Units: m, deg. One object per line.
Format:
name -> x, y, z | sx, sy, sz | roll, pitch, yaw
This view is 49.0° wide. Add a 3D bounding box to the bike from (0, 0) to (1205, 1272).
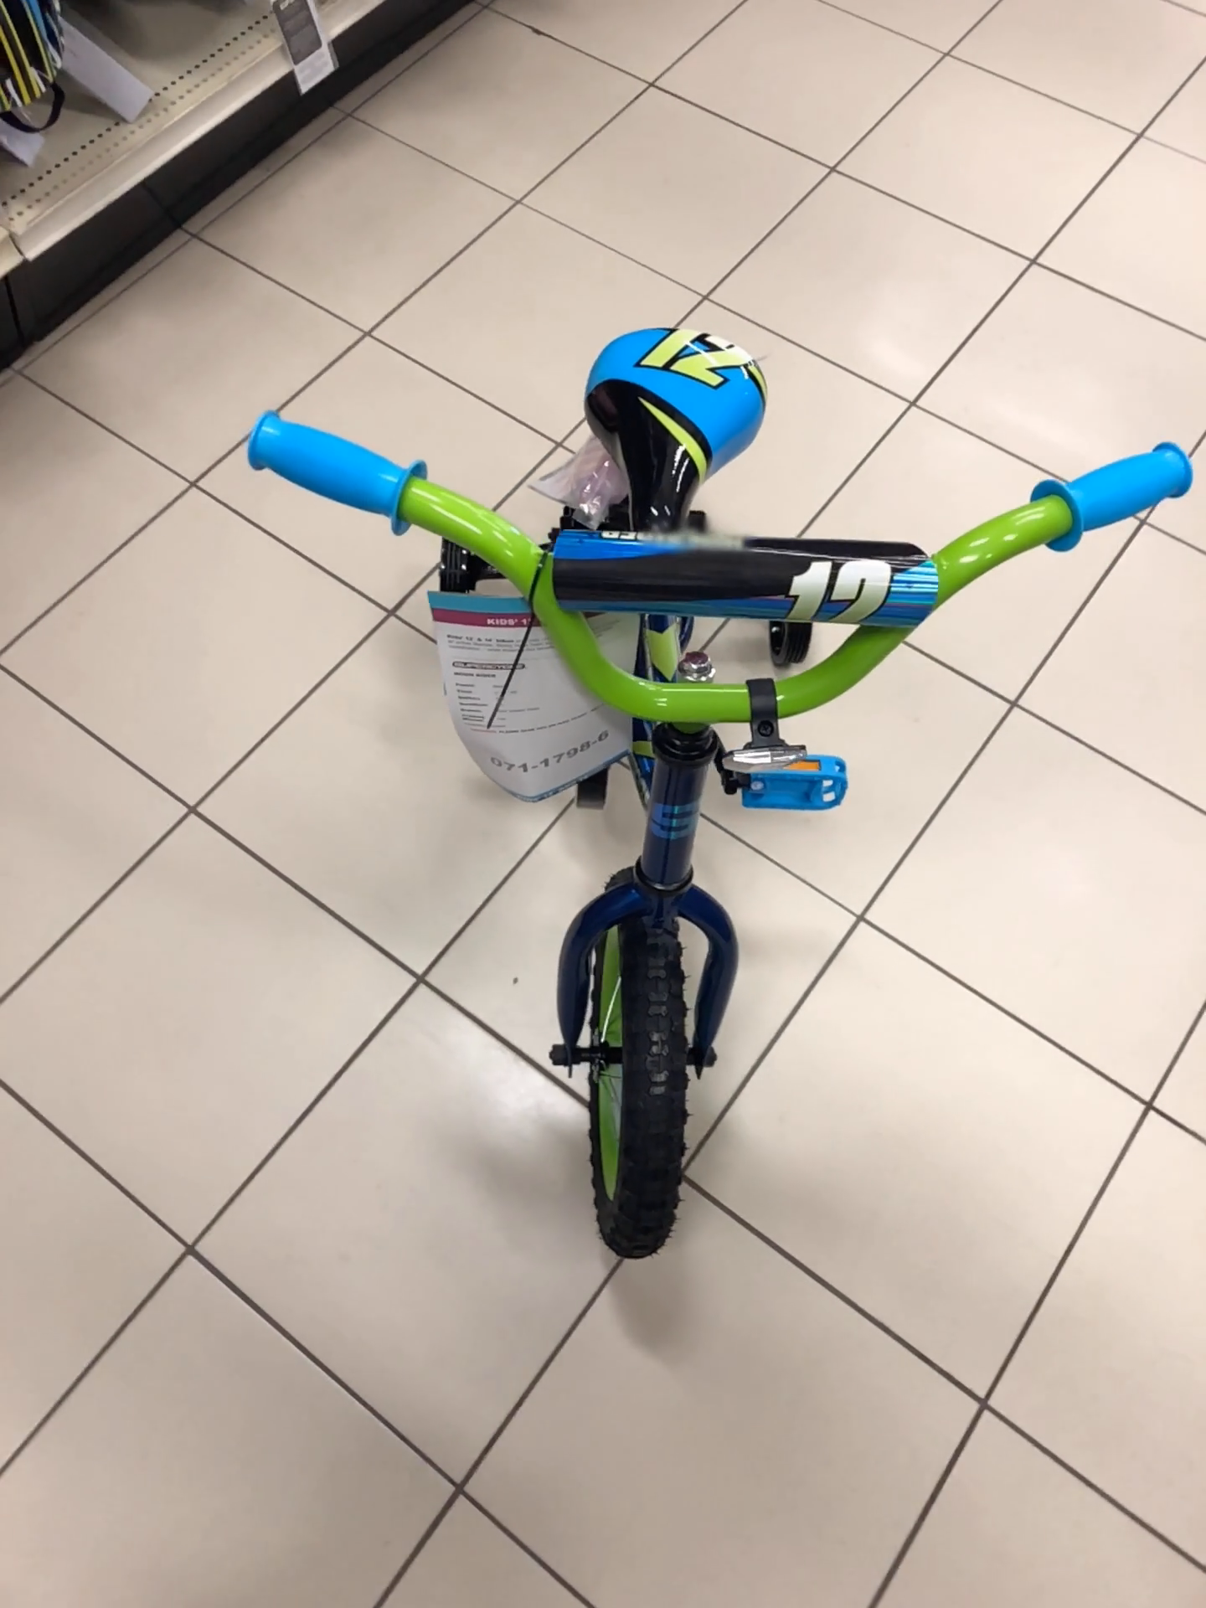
bike -> 0.037, -0.122, 0.987 | 0.548, 0.676, 0.797 | 0, 63, 1
